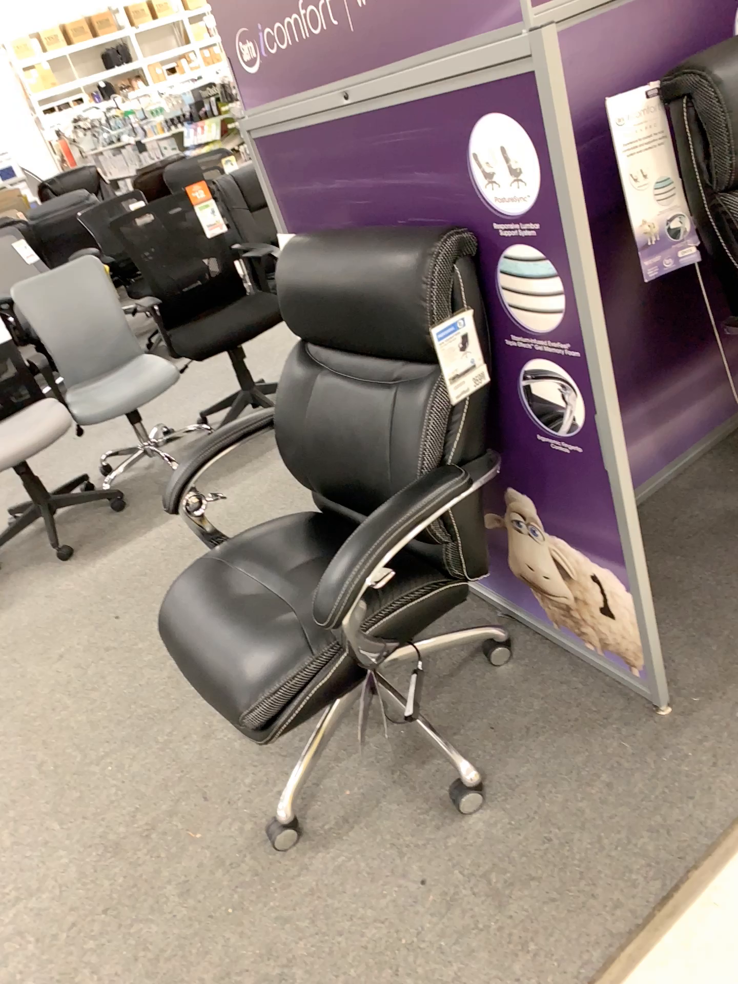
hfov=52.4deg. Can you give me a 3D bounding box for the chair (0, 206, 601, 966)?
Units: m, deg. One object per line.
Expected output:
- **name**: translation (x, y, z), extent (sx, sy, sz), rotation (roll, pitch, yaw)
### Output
- **chair**: translation (-0.181, 0.080, 1.412), extent (0.720, 0.955, 0.774), rotation (-32, 31, -21)
